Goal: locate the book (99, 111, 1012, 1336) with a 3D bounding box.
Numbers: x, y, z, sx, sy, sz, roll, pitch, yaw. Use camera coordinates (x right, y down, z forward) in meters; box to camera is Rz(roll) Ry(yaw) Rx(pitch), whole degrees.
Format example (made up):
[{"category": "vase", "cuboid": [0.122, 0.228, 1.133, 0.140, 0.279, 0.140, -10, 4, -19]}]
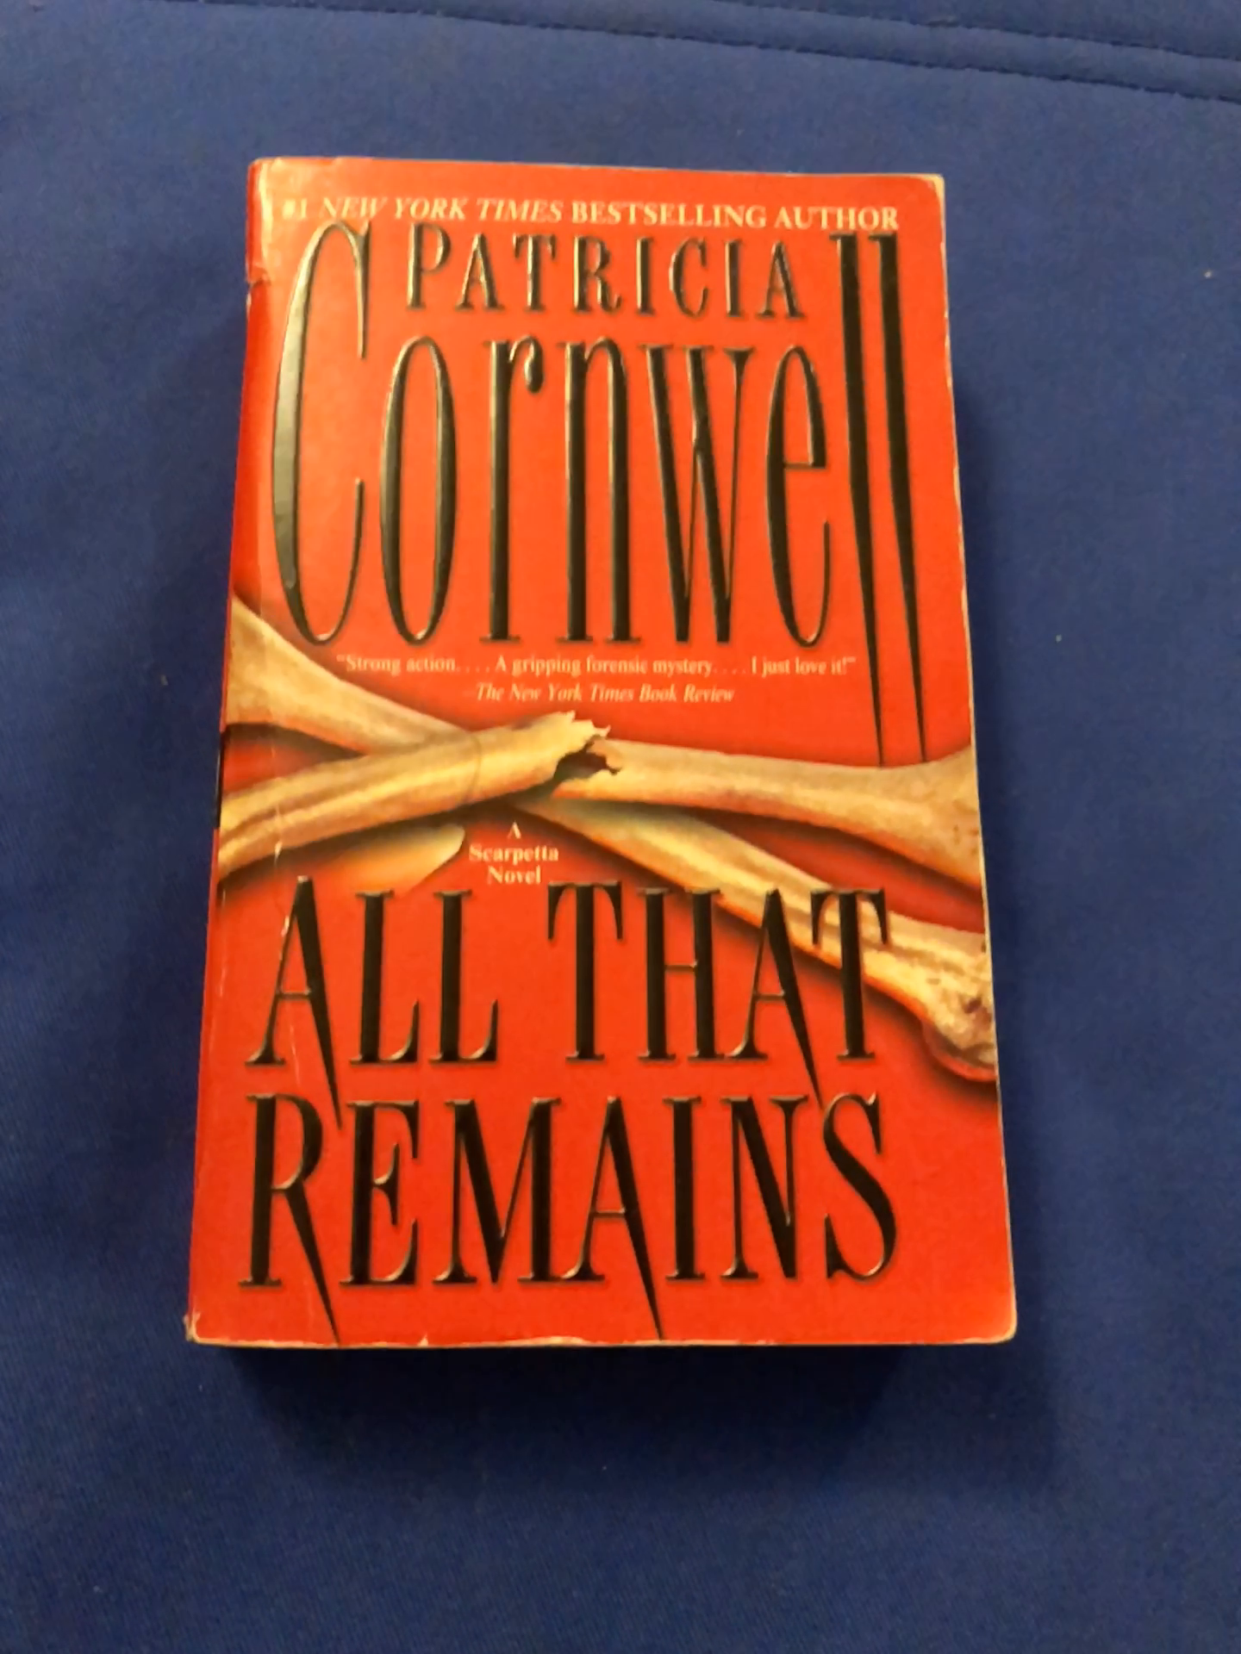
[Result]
[{"category": "book", "cuboid": [-0.008, -0.018, 0.199, 0.110, 0.030, 0.166, 1, 78, -3]}]
